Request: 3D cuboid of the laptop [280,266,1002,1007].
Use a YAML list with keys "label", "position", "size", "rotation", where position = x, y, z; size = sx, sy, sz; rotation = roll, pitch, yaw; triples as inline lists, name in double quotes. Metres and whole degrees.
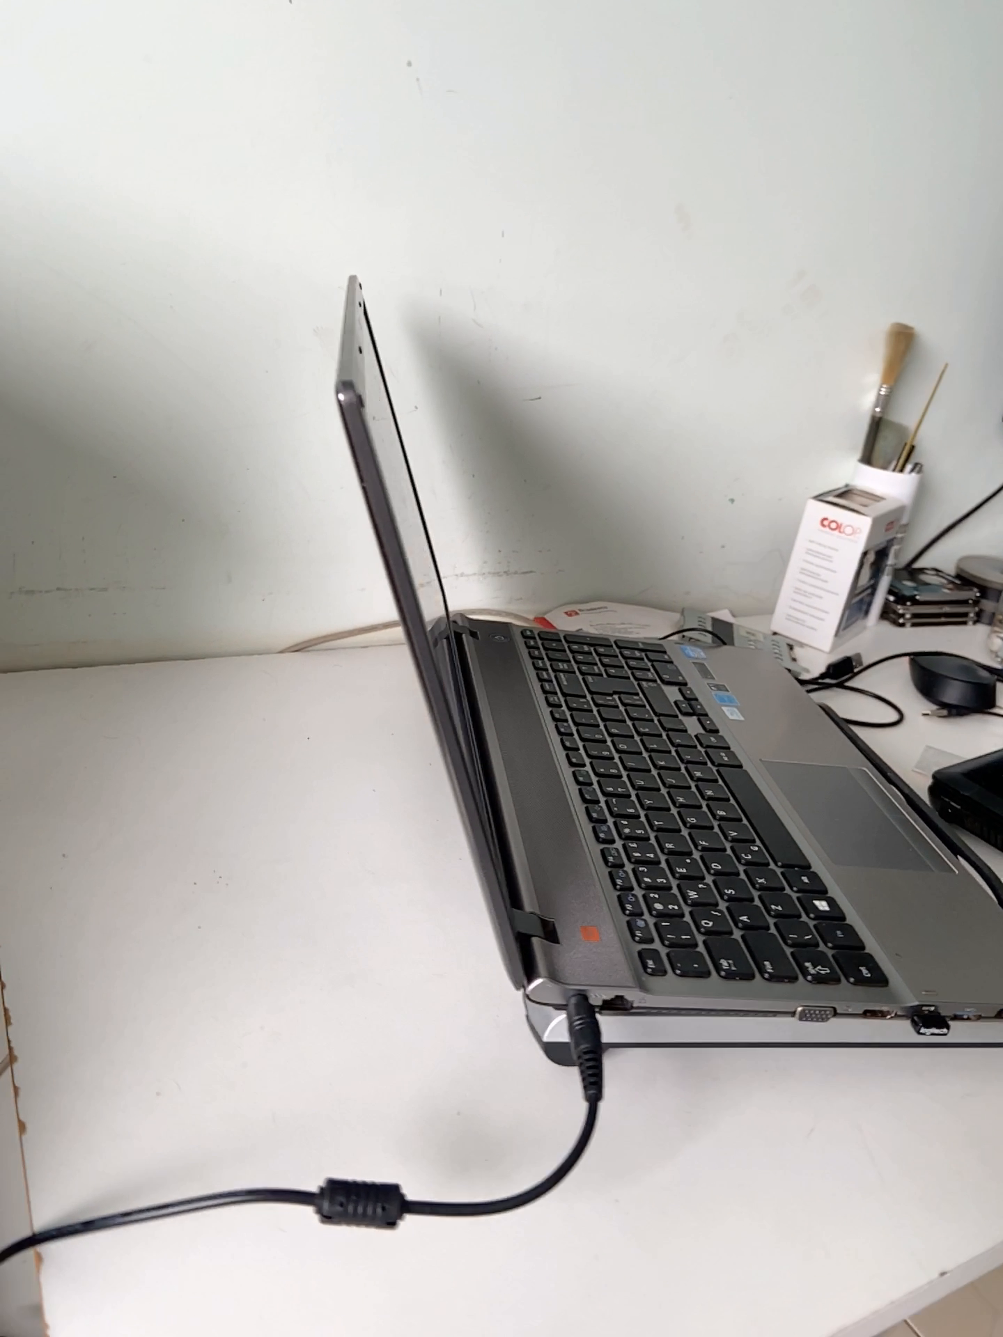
- label: "laptop"
  position: [0.073, -0.050, 0.527]
  size: [0.335, 0.213, 0.369]
  rotation: [5, 24, -10]
